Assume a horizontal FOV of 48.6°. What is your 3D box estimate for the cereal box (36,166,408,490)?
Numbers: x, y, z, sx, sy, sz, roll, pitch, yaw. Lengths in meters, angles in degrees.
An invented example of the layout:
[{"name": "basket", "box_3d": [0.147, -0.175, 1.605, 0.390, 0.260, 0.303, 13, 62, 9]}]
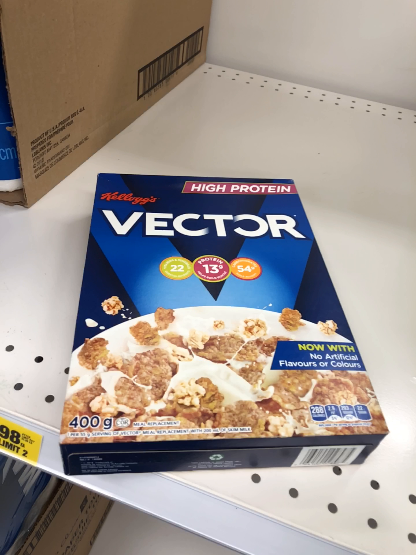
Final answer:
[{"name": "cereal box", "box_3d": [-0.004, 0.010, 0.378, 0.210, 0.050, 0.291, 1, 43, -9]}]
